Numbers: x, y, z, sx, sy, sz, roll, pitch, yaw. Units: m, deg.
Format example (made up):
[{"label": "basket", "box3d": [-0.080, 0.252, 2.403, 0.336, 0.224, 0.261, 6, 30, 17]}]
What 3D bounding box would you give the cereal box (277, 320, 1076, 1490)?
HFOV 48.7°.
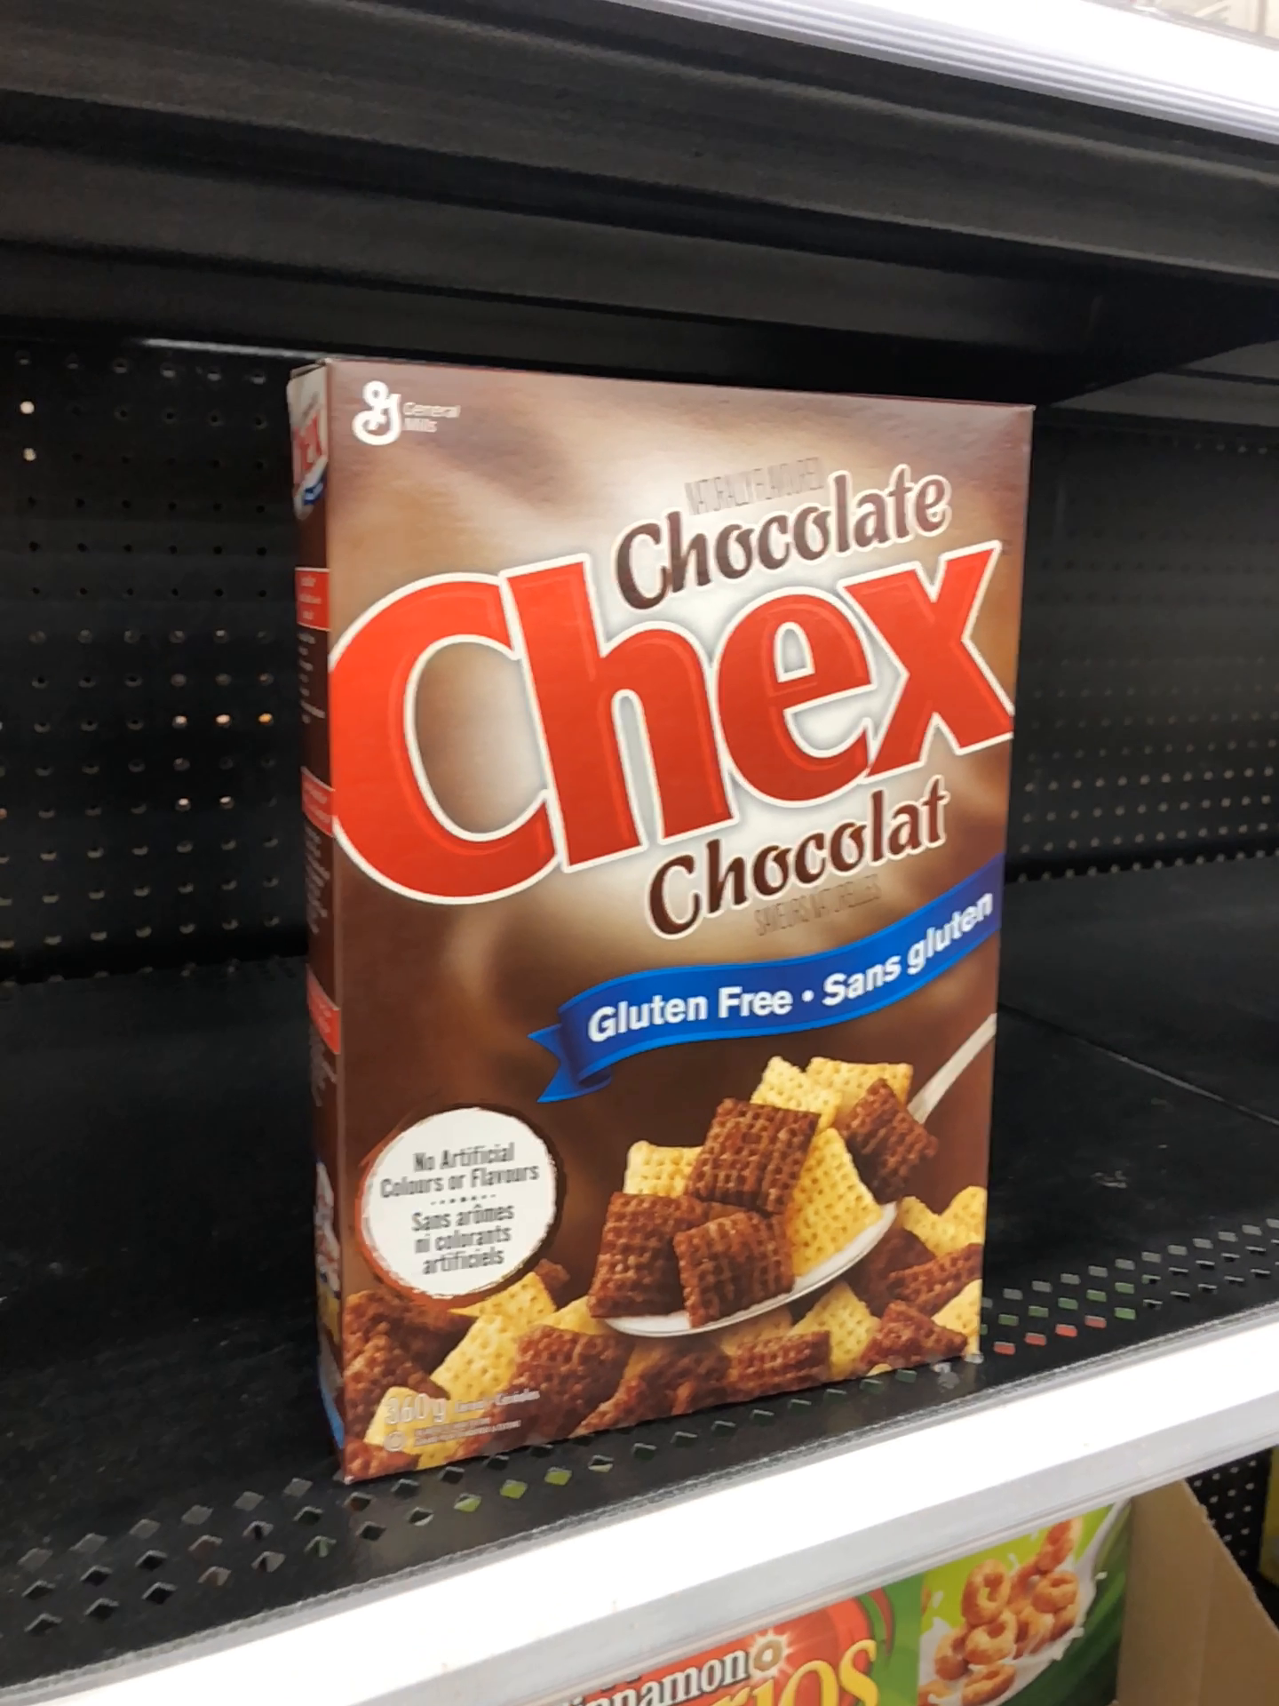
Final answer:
[{"label": "cereal box", "box3d": [0.010, 0.013, 0.387, 0.200, 0.279, 0.050, -3, 11, -20]}]
